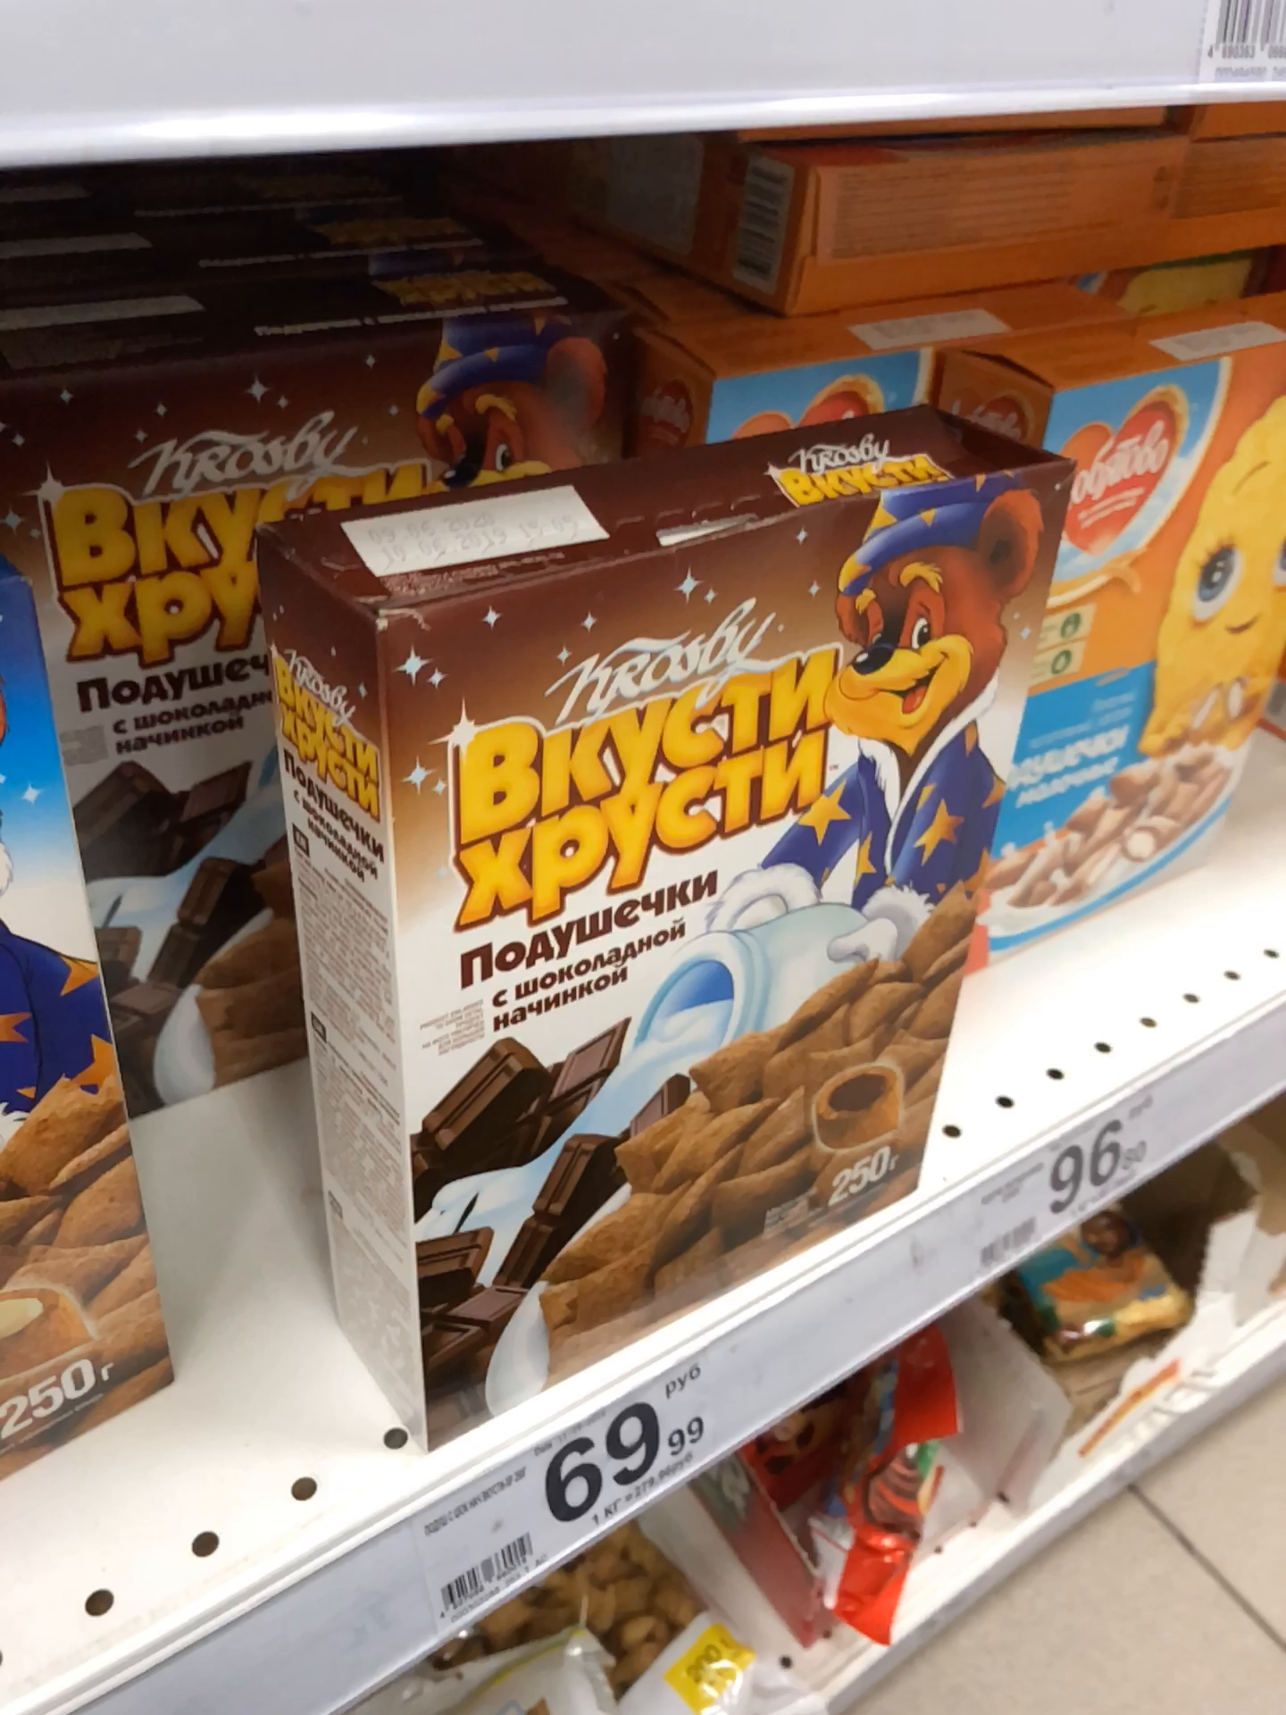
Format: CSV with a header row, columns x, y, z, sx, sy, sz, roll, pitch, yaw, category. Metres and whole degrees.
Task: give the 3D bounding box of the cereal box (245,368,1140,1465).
x,y,z,sx,sy,sz,roll,pitch,yaw,category
0.012,0.015,0.343,0.180,0.229,0.050,-19,40,-30,cereal box
